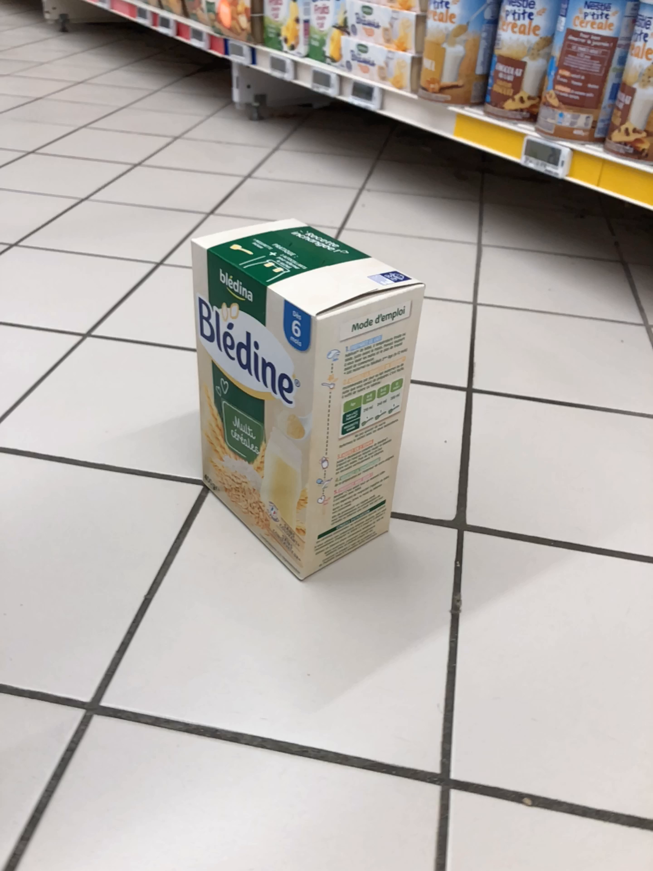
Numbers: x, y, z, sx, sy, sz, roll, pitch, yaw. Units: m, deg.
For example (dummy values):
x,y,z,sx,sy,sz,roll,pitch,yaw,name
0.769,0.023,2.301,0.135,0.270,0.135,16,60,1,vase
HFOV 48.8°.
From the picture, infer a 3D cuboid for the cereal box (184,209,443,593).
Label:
x,y,z,sx,sy,sz,roll,pitch,yaw,name
-0.016,-0.025,0.477,0.090,0.199,0.130,-23,43,-32,cereal box
